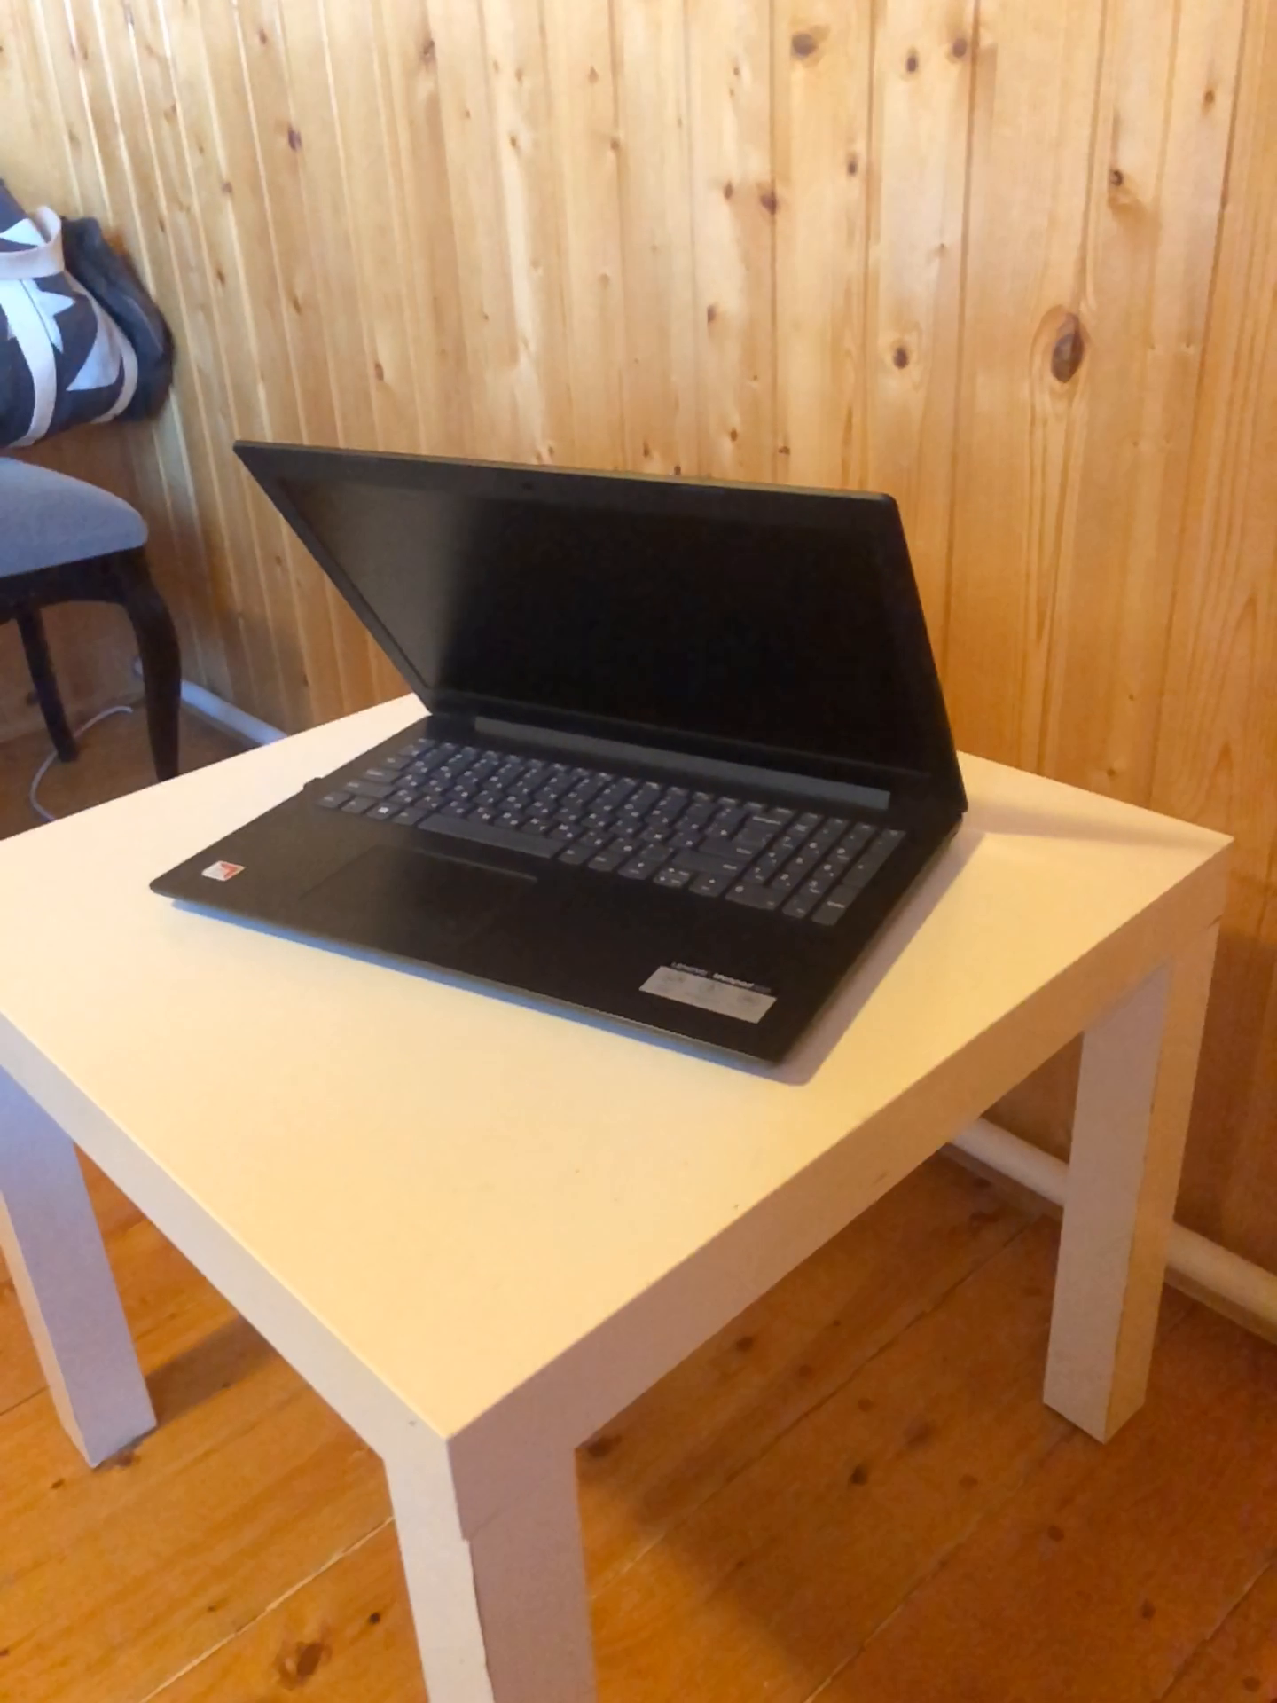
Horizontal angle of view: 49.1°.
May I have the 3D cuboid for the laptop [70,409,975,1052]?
[{"bbox_3d":[-0.049,-0.095,0.732,0.373,0.206,0.251,12,31,28],"label":"laptop"}]
